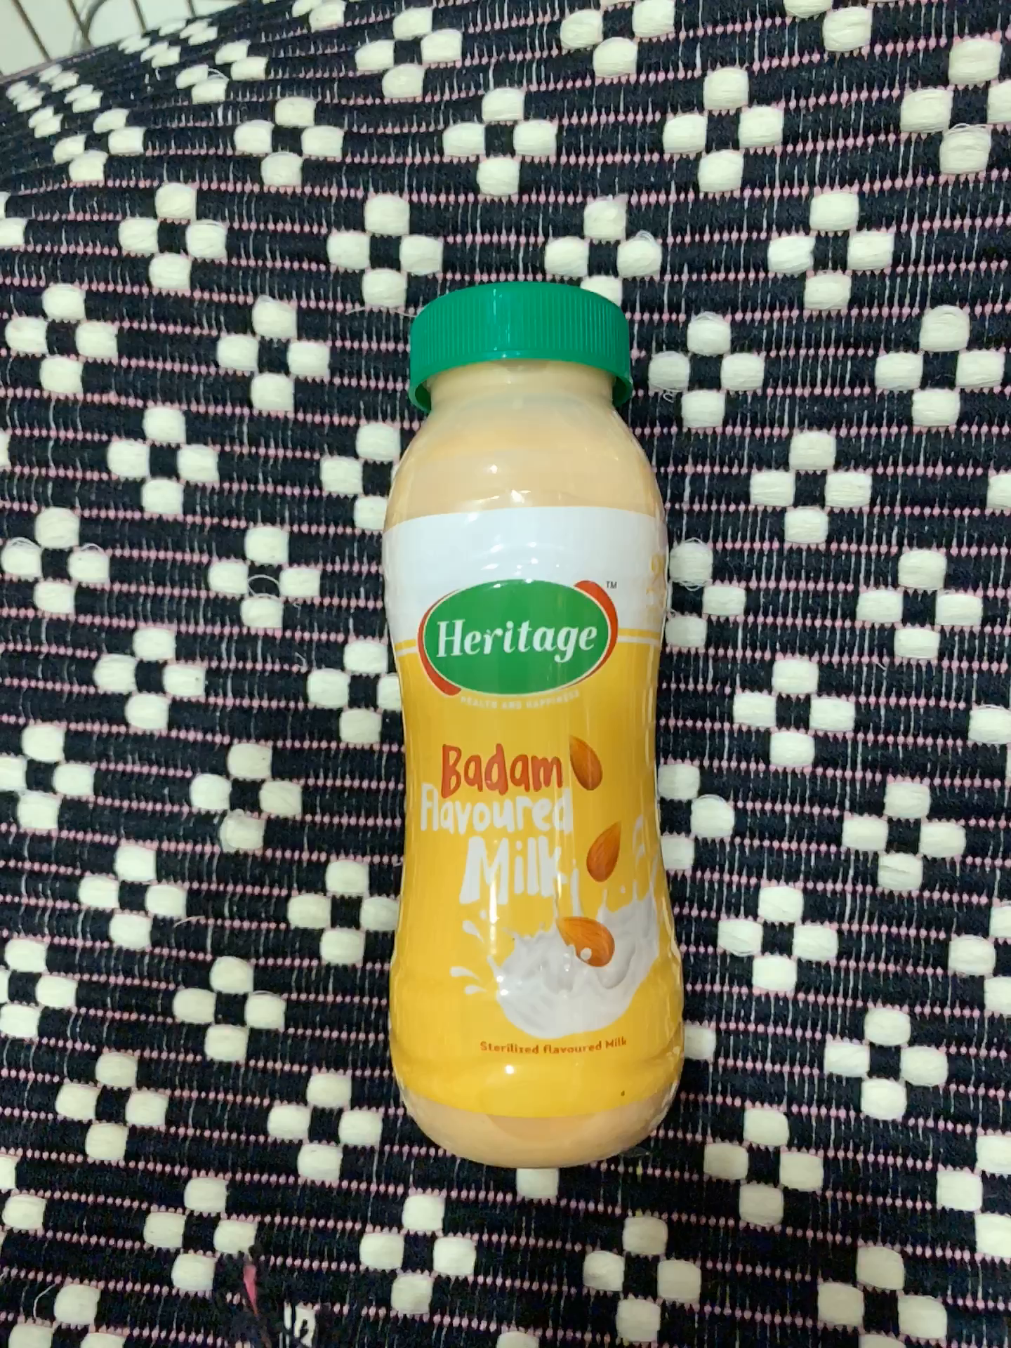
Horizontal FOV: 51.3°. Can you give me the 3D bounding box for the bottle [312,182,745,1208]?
[{"bbox_3d":[0.003,0.002,0.174,0.060,0.040,0.150,0,84,1],"label":"bottle"}]
